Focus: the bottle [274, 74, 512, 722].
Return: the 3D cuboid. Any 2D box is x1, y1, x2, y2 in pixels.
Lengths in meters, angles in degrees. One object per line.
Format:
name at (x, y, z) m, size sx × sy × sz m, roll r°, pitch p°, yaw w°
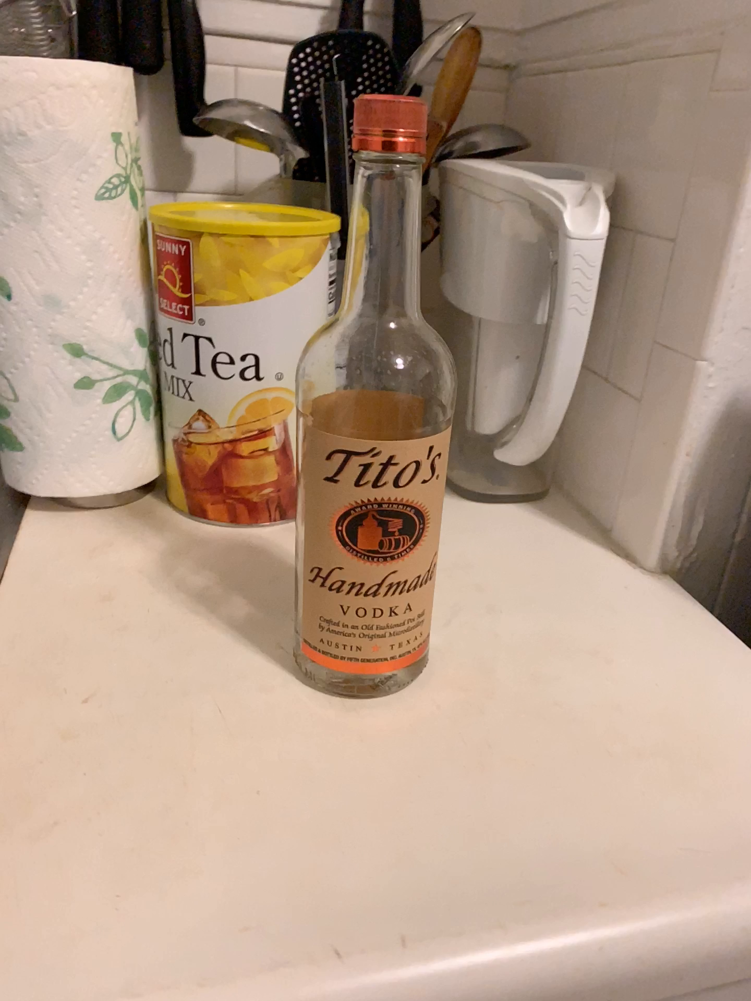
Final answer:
bottle at (-0.004, -0.036, 0.374) m, size 0.080 × 0.288 × 0.080 m, roll 4°, pitch 24°, yaw -2°
